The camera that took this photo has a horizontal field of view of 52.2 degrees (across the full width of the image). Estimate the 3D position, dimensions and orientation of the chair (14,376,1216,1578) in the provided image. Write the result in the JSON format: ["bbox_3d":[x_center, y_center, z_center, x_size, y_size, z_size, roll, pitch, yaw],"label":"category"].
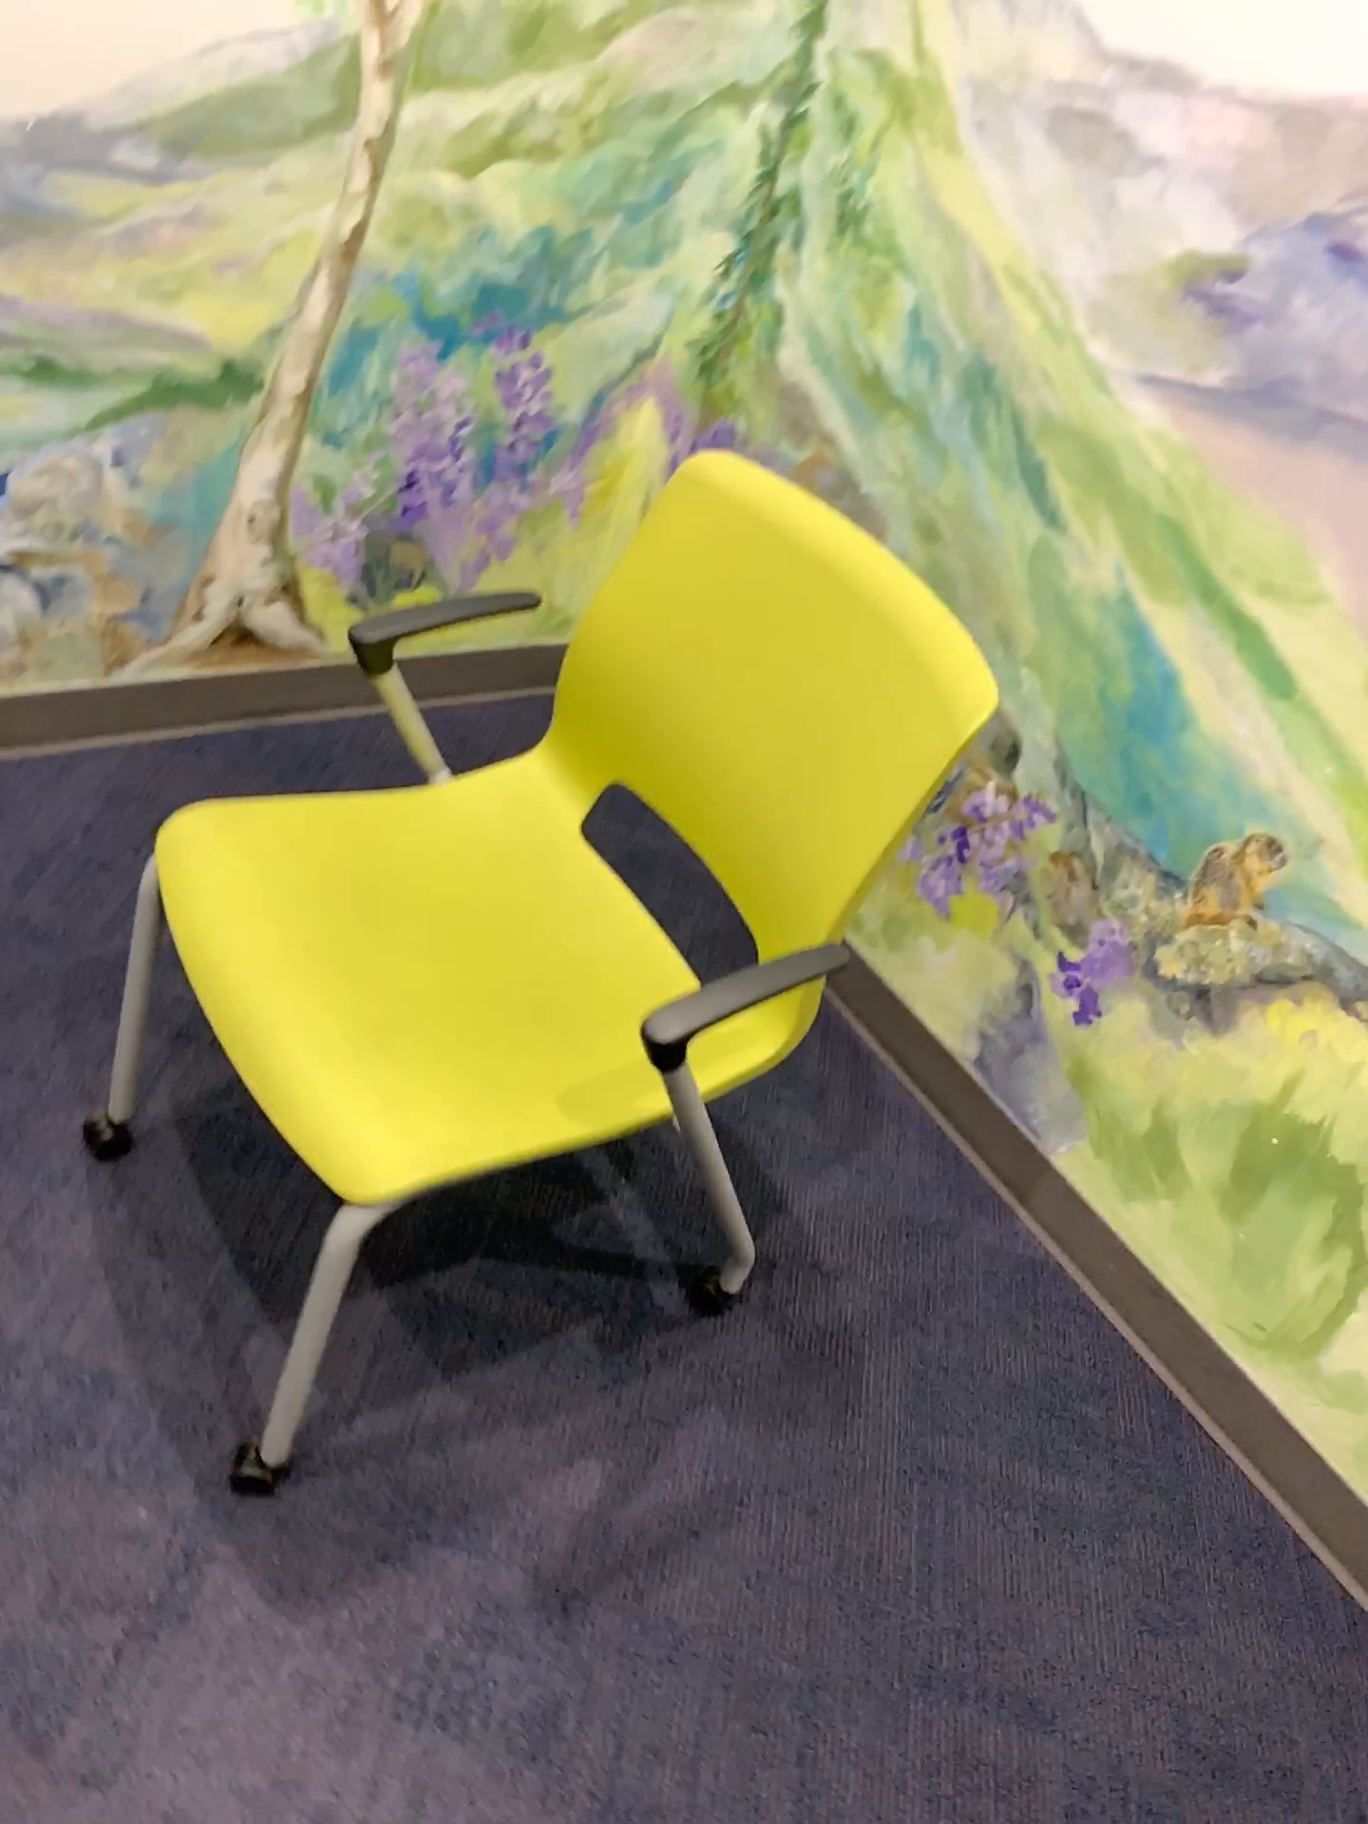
[{"bbox_3d":[-0.137,0.020,1.272,0.742,0.716,0.591,-10,48,-35],"label":"chair"}]
